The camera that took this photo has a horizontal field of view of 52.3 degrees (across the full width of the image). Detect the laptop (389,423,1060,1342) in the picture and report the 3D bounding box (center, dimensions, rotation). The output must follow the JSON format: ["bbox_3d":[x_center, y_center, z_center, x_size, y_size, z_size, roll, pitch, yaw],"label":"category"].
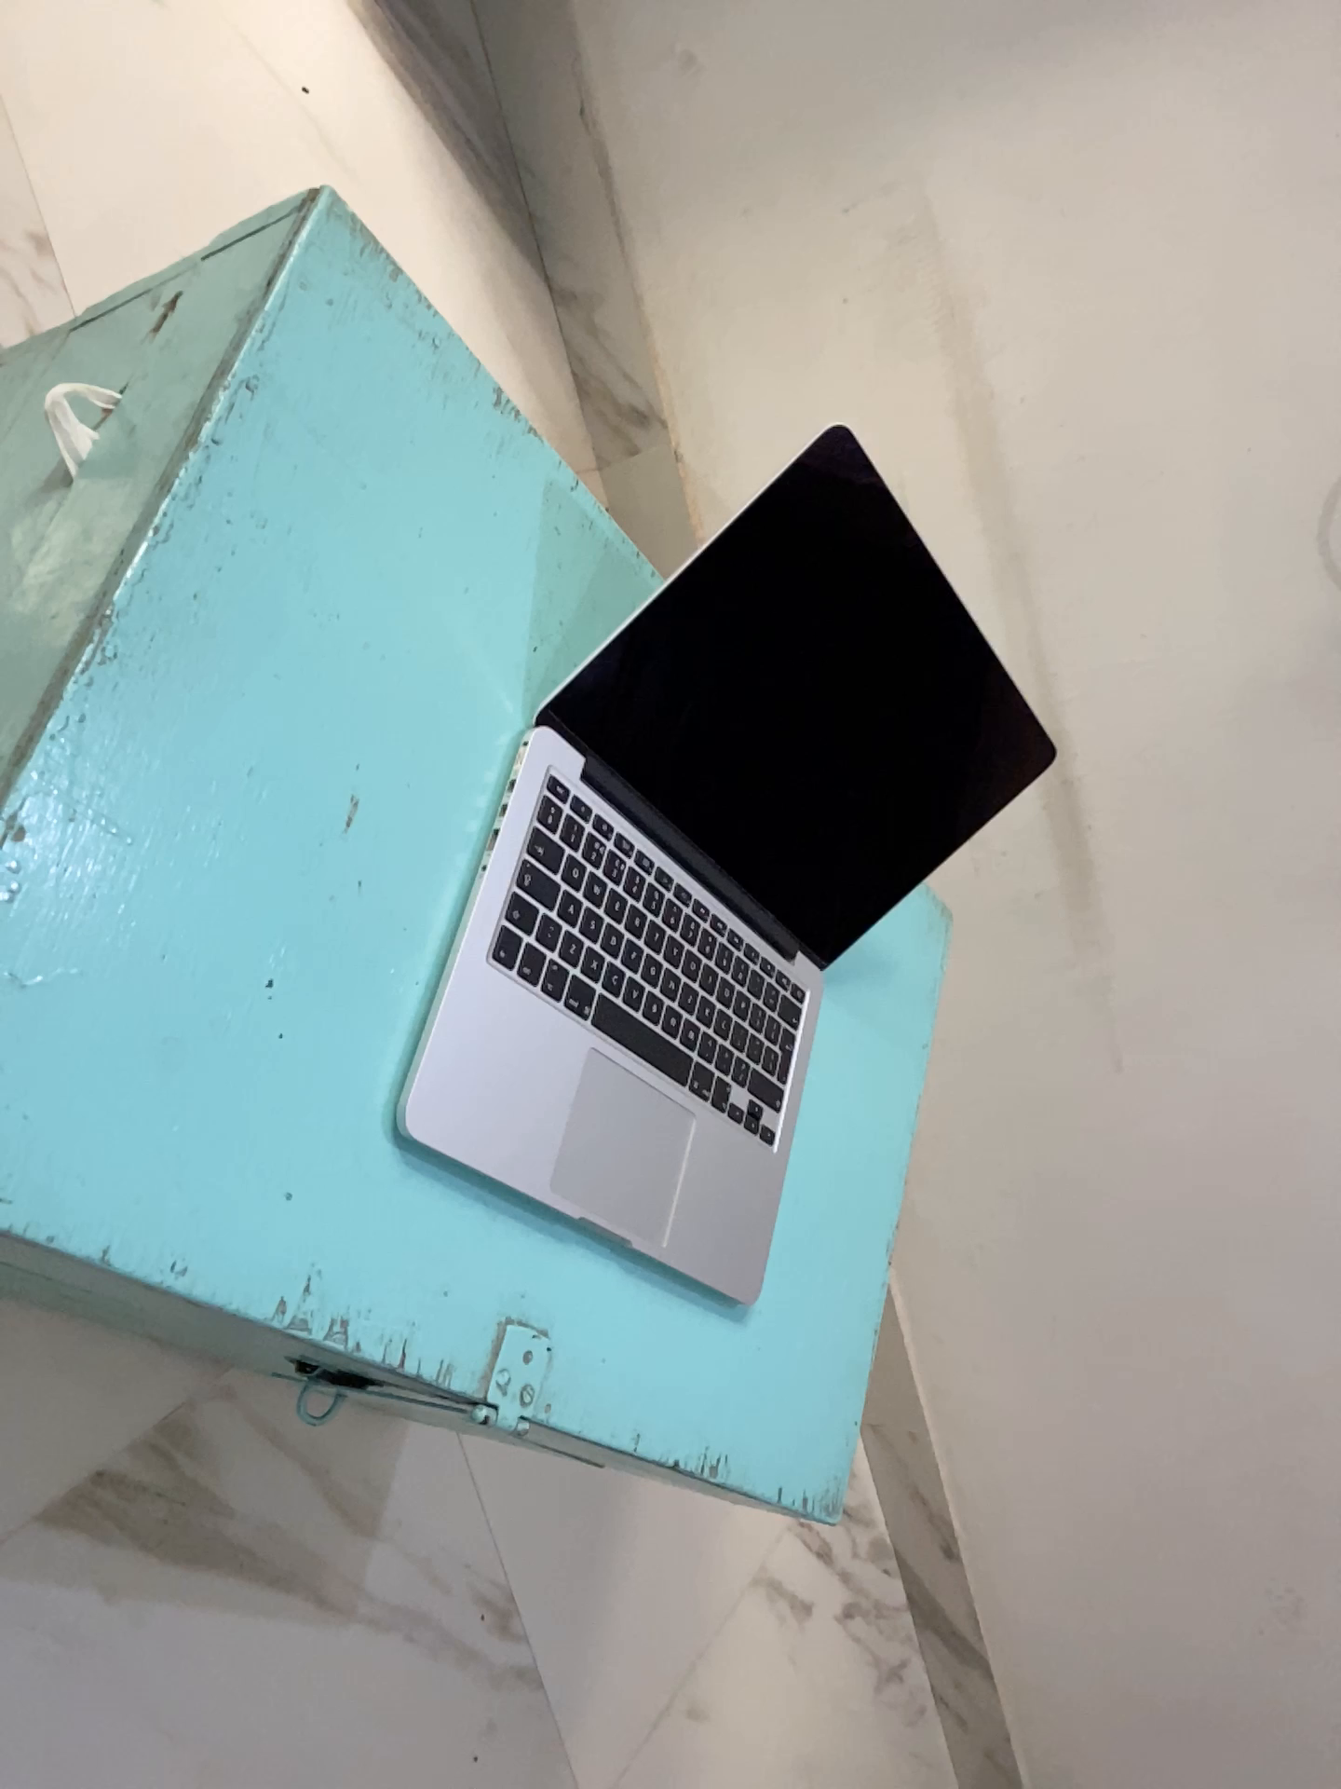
[{"bbox_3d":[0.065,0.012,0.752,0.314,0.148,0.377,39,56,-44],"label":"laptop"}]
